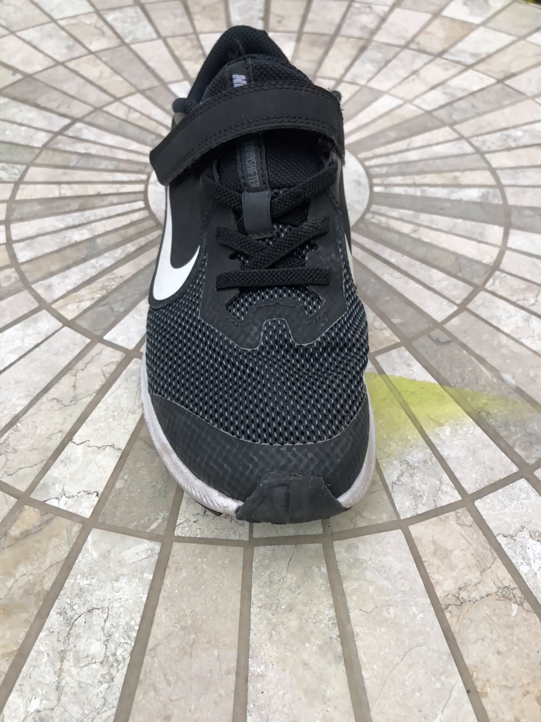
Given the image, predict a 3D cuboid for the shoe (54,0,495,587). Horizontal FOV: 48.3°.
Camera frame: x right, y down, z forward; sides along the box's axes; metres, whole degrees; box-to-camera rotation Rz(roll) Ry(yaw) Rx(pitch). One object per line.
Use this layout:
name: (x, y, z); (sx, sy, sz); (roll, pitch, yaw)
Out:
shoe: (-0.006, -0.052, 0.254); (0.100, 0.099, 0.251); (-3, 51, -2)
